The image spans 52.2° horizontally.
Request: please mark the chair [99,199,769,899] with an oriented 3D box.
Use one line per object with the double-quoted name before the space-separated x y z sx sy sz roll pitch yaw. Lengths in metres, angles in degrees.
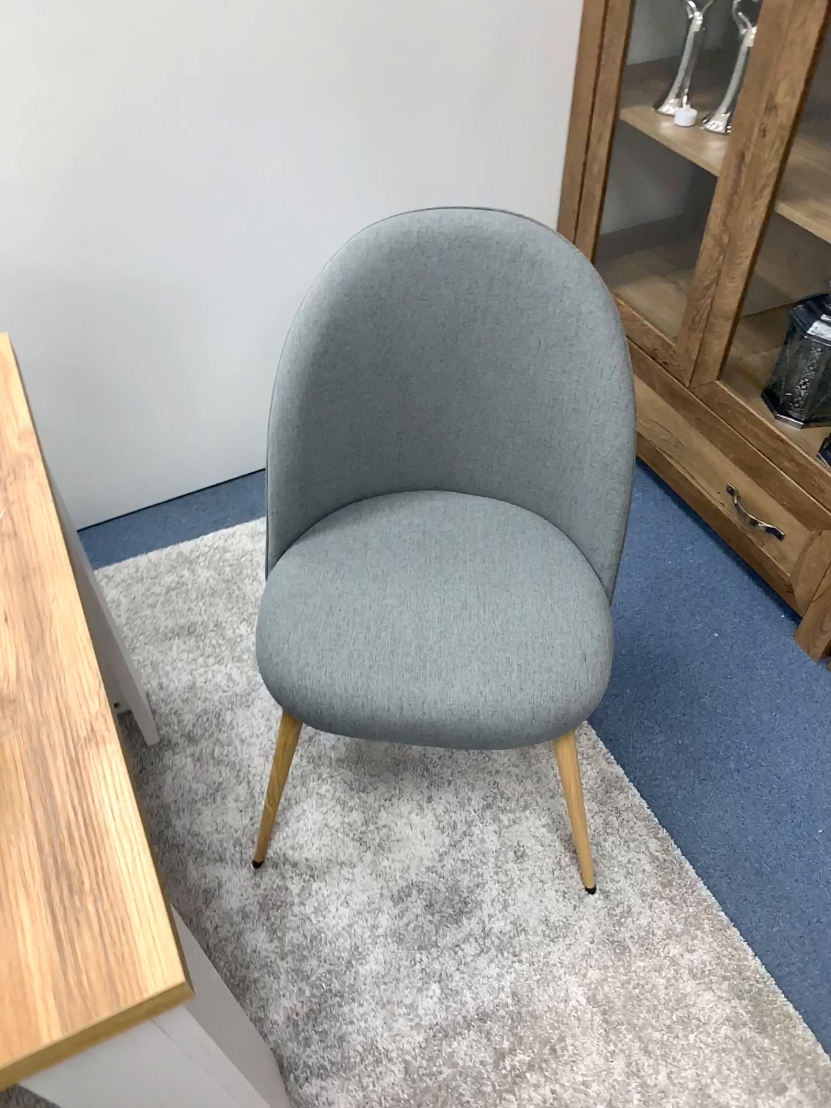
"chair" 0.025 0.019 1.135 0.530 0.737 0.572 1 46 2
